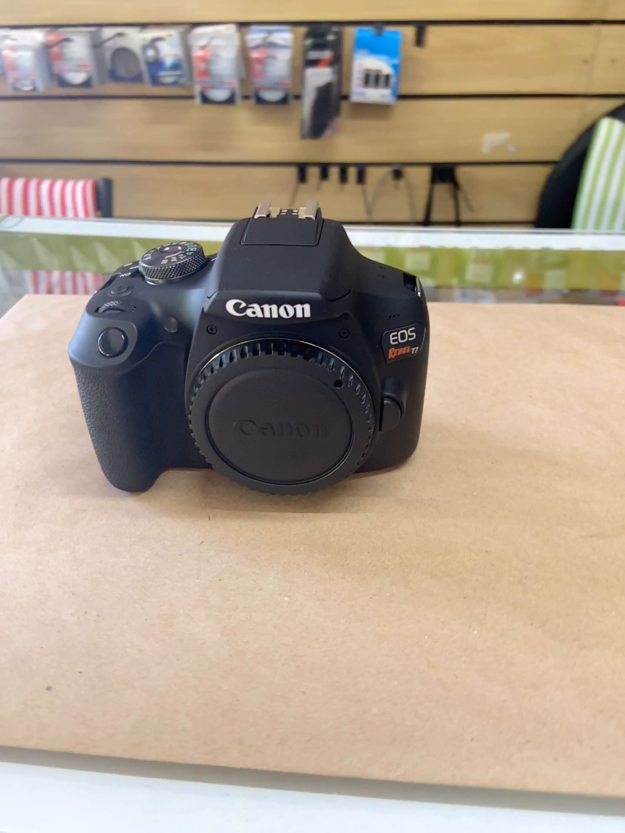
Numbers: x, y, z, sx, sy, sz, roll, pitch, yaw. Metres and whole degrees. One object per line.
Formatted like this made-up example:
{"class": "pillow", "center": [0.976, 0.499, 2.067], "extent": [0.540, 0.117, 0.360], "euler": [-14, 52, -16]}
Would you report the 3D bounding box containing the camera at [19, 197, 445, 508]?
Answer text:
{"class": "camera", "center": [-0.021, -0.026, 0.251], "extent": [0.130, 0.092, 0.072], "euler": [2, 36, 5]}
